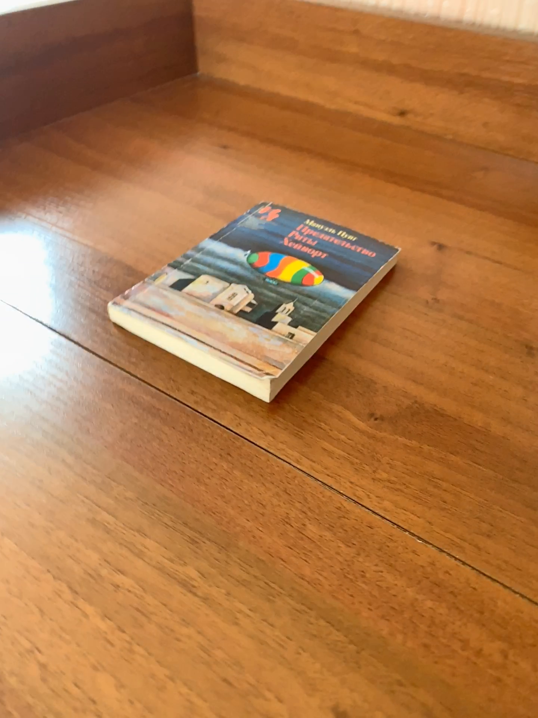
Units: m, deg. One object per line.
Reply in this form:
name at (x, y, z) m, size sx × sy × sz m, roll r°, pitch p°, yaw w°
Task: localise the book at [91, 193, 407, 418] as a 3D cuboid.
book at (-0.004, -0.046, 0.338) m, size 0.121 × 0.016 × 0.158 m, roll 26°, pitch 47°, yaw 21°
